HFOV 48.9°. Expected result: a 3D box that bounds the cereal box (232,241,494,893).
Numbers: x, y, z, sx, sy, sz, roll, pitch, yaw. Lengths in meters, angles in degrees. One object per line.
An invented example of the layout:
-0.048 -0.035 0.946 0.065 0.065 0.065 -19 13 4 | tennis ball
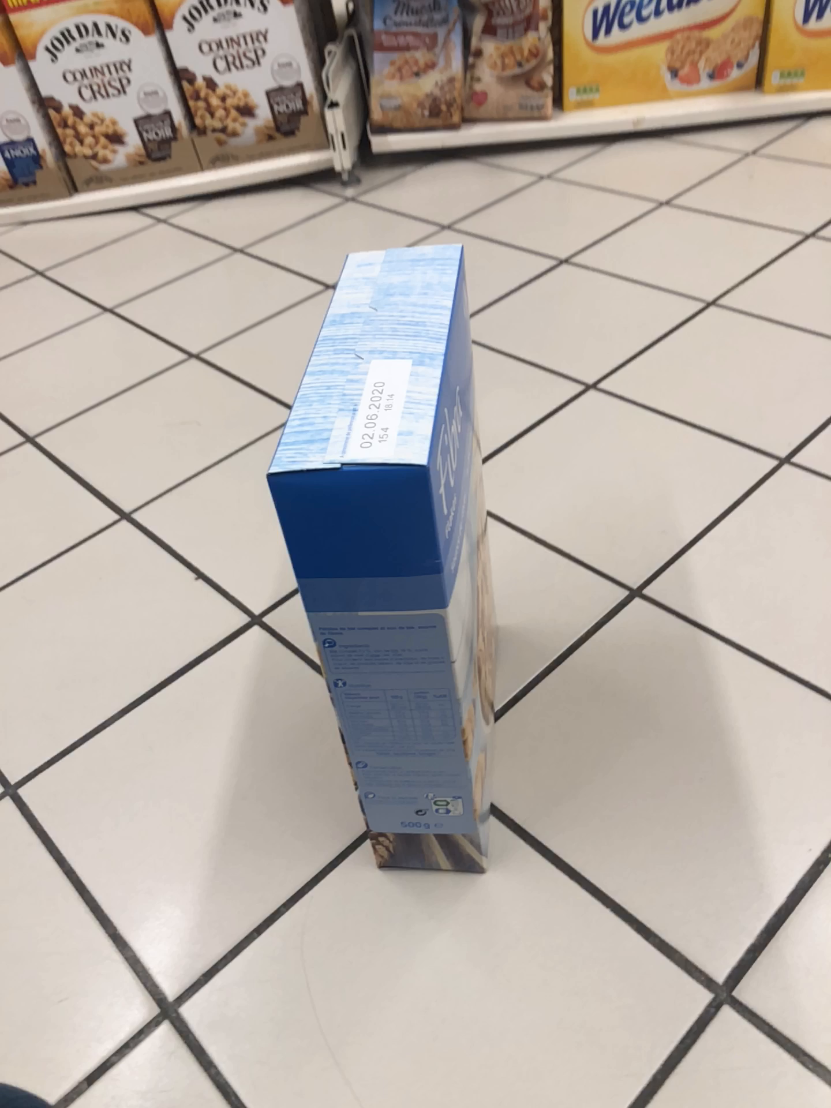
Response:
-0.005 0.014 0.494 0.070 0.288 0.201 -2 41 8 | cereal box
